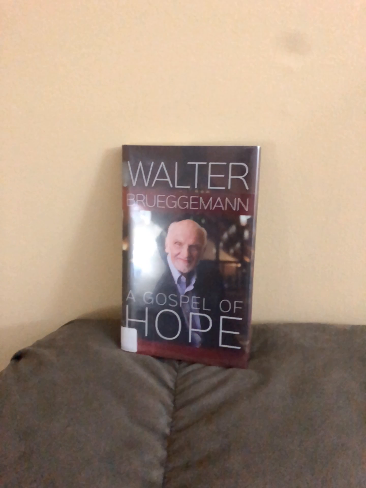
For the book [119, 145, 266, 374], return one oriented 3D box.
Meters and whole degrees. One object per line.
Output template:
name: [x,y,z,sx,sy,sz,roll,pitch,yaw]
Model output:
book: [0.005,0.012,0.403,0.141,0.210,0.027,3,7,18]
